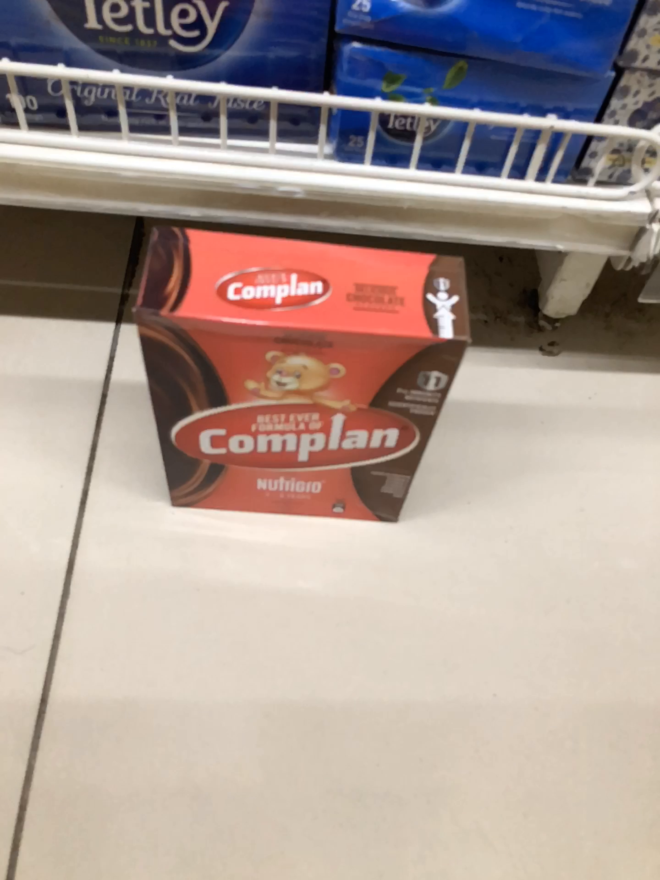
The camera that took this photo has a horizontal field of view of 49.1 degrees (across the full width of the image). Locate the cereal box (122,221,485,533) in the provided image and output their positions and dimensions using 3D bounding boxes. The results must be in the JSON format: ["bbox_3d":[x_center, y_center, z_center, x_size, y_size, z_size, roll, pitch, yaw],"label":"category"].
[{"bbox_3d":[-0.017,-0.017,0.367,0.140,0.179,0.050,4,58,-4],"label":"cereal box"}]
